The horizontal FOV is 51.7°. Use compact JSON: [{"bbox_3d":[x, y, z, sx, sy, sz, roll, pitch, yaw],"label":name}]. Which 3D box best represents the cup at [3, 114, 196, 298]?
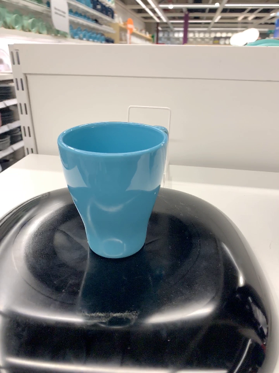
[{"bbox_3d":[-0.023,-0.001,0.265,0.100,0.100,0.140,13,26,25],"label":"cup"}]
